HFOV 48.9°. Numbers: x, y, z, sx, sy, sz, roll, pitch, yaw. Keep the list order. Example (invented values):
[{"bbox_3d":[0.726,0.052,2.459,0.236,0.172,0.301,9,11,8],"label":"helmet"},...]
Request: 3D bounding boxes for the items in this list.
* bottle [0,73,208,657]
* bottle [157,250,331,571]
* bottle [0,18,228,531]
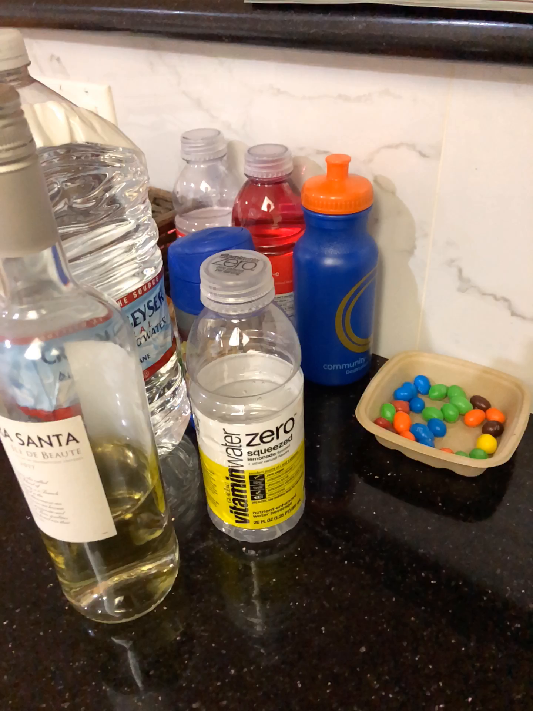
[{"bbox_3d":[-0.090,0.023,0.276,0.070,0.268,0.070,-2,36,1],"label":"bottle"},{"bbox_3d":[-0.011,0.034,0.326,0.070,0.159,0.070,-2,36,1],"label":"bottle"},{"bbox_3d":[-0.132,-0.052,0.388,0.130,0.278,0.140,-2,36,1],"label":"bottle"}]
